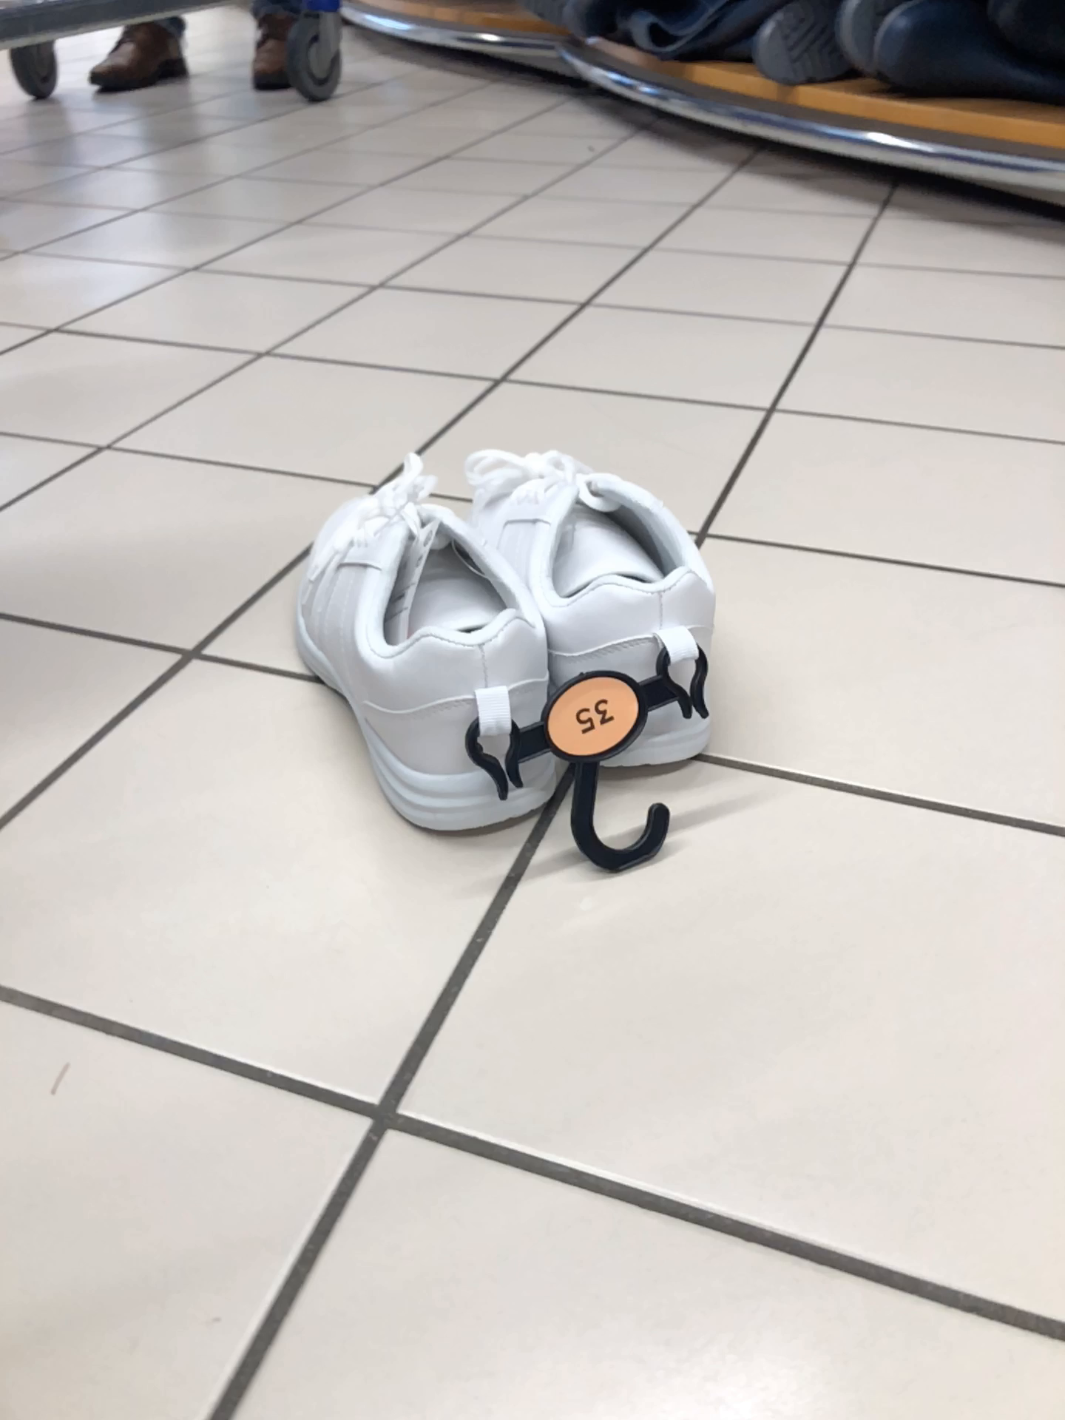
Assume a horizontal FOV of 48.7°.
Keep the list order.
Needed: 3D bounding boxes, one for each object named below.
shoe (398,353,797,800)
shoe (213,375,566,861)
[{"bbox_3d":[0.015,-0.076,0.532,0.090,0.089,0.241,-12,36,-15],"label":"shoe"},{"bbox_3d":[-0.070,-0.056,0.502,0.090,0.089,0.241,-12,36,-15],"label":"shoe"}]
